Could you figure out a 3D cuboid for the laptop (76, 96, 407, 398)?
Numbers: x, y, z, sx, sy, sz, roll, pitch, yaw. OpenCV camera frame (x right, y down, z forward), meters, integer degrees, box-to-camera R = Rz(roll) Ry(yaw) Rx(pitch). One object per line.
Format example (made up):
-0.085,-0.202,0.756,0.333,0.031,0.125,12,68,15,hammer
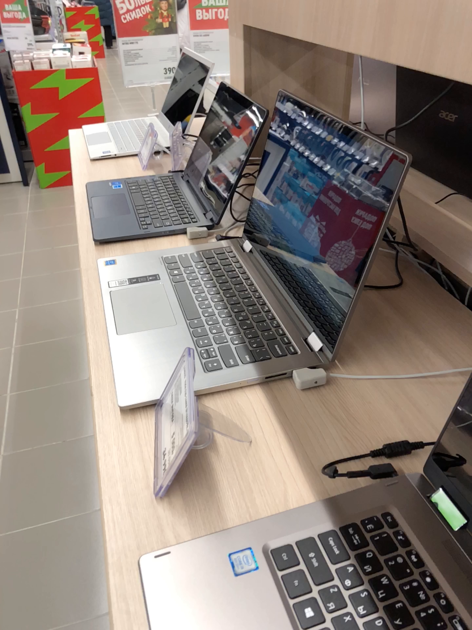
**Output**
-0.022,-0.113,0.620,0.287,0.205,0.313,-10,33,-14,laptop
